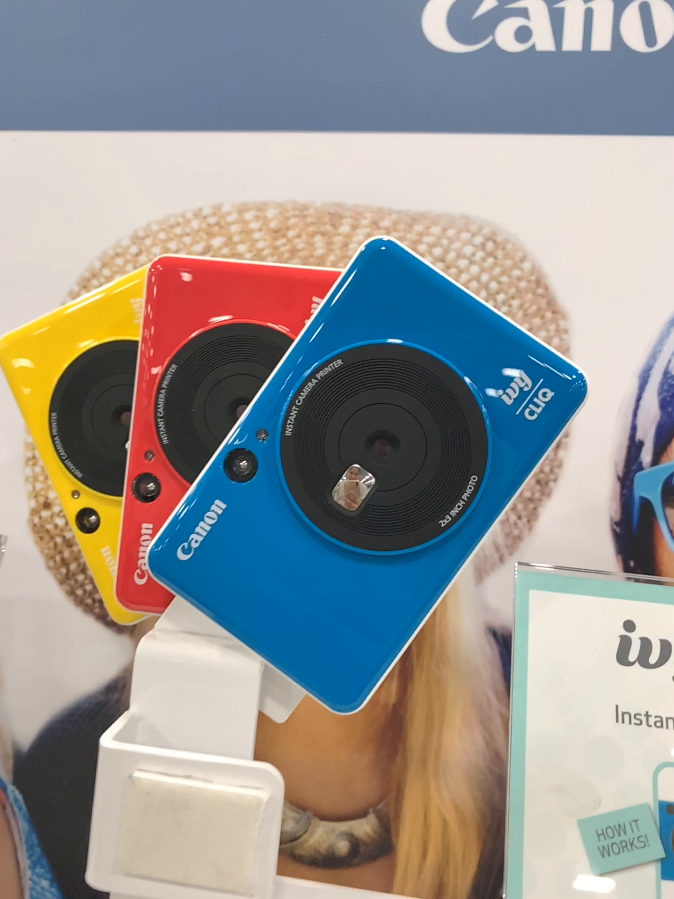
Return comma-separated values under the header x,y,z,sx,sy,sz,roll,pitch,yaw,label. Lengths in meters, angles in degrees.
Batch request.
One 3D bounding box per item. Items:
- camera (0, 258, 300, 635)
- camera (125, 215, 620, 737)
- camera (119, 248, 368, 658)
x,y,z,sx,sy,sz,roll,pitch,yaw,label
-0.073,0.000,0.273,0.068,0.123,0.030,-22,4,12,camera
0.009,0.007,0.201,0.078,0.114,0.030,36,4,2,camera
-0.031,0.000,0.238,0.067,0.123,0.030,7,5,9,camera
